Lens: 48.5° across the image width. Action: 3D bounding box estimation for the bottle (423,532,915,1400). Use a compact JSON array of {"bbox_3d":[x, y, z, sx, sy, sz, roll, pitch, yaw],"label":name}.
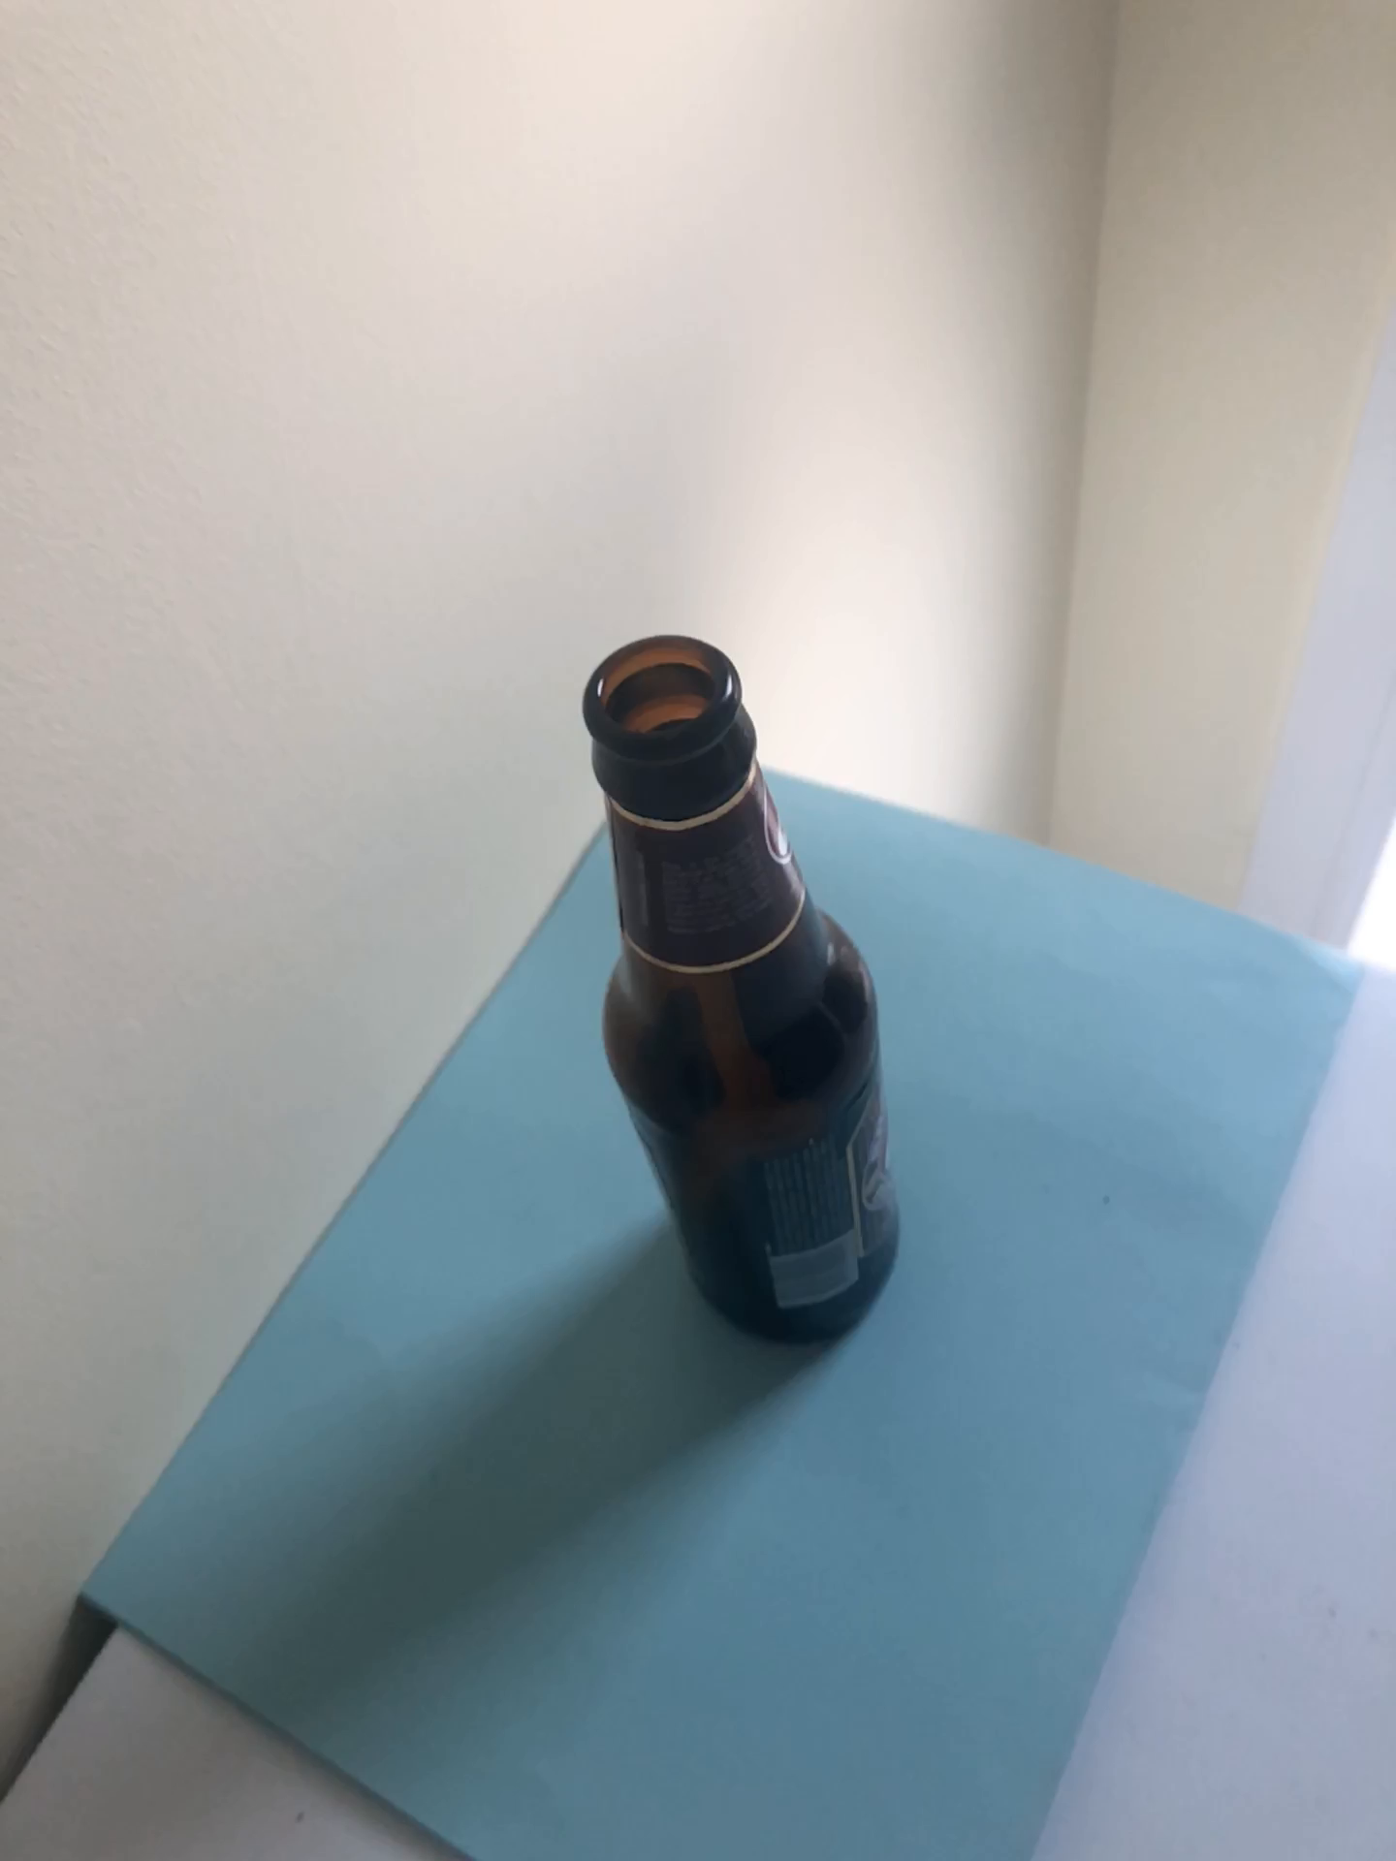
[{"bbox_3d":[0.005,0.029,0.347,0.070,0.229,0.070,-4,55,6],"label":"bottle"}]
